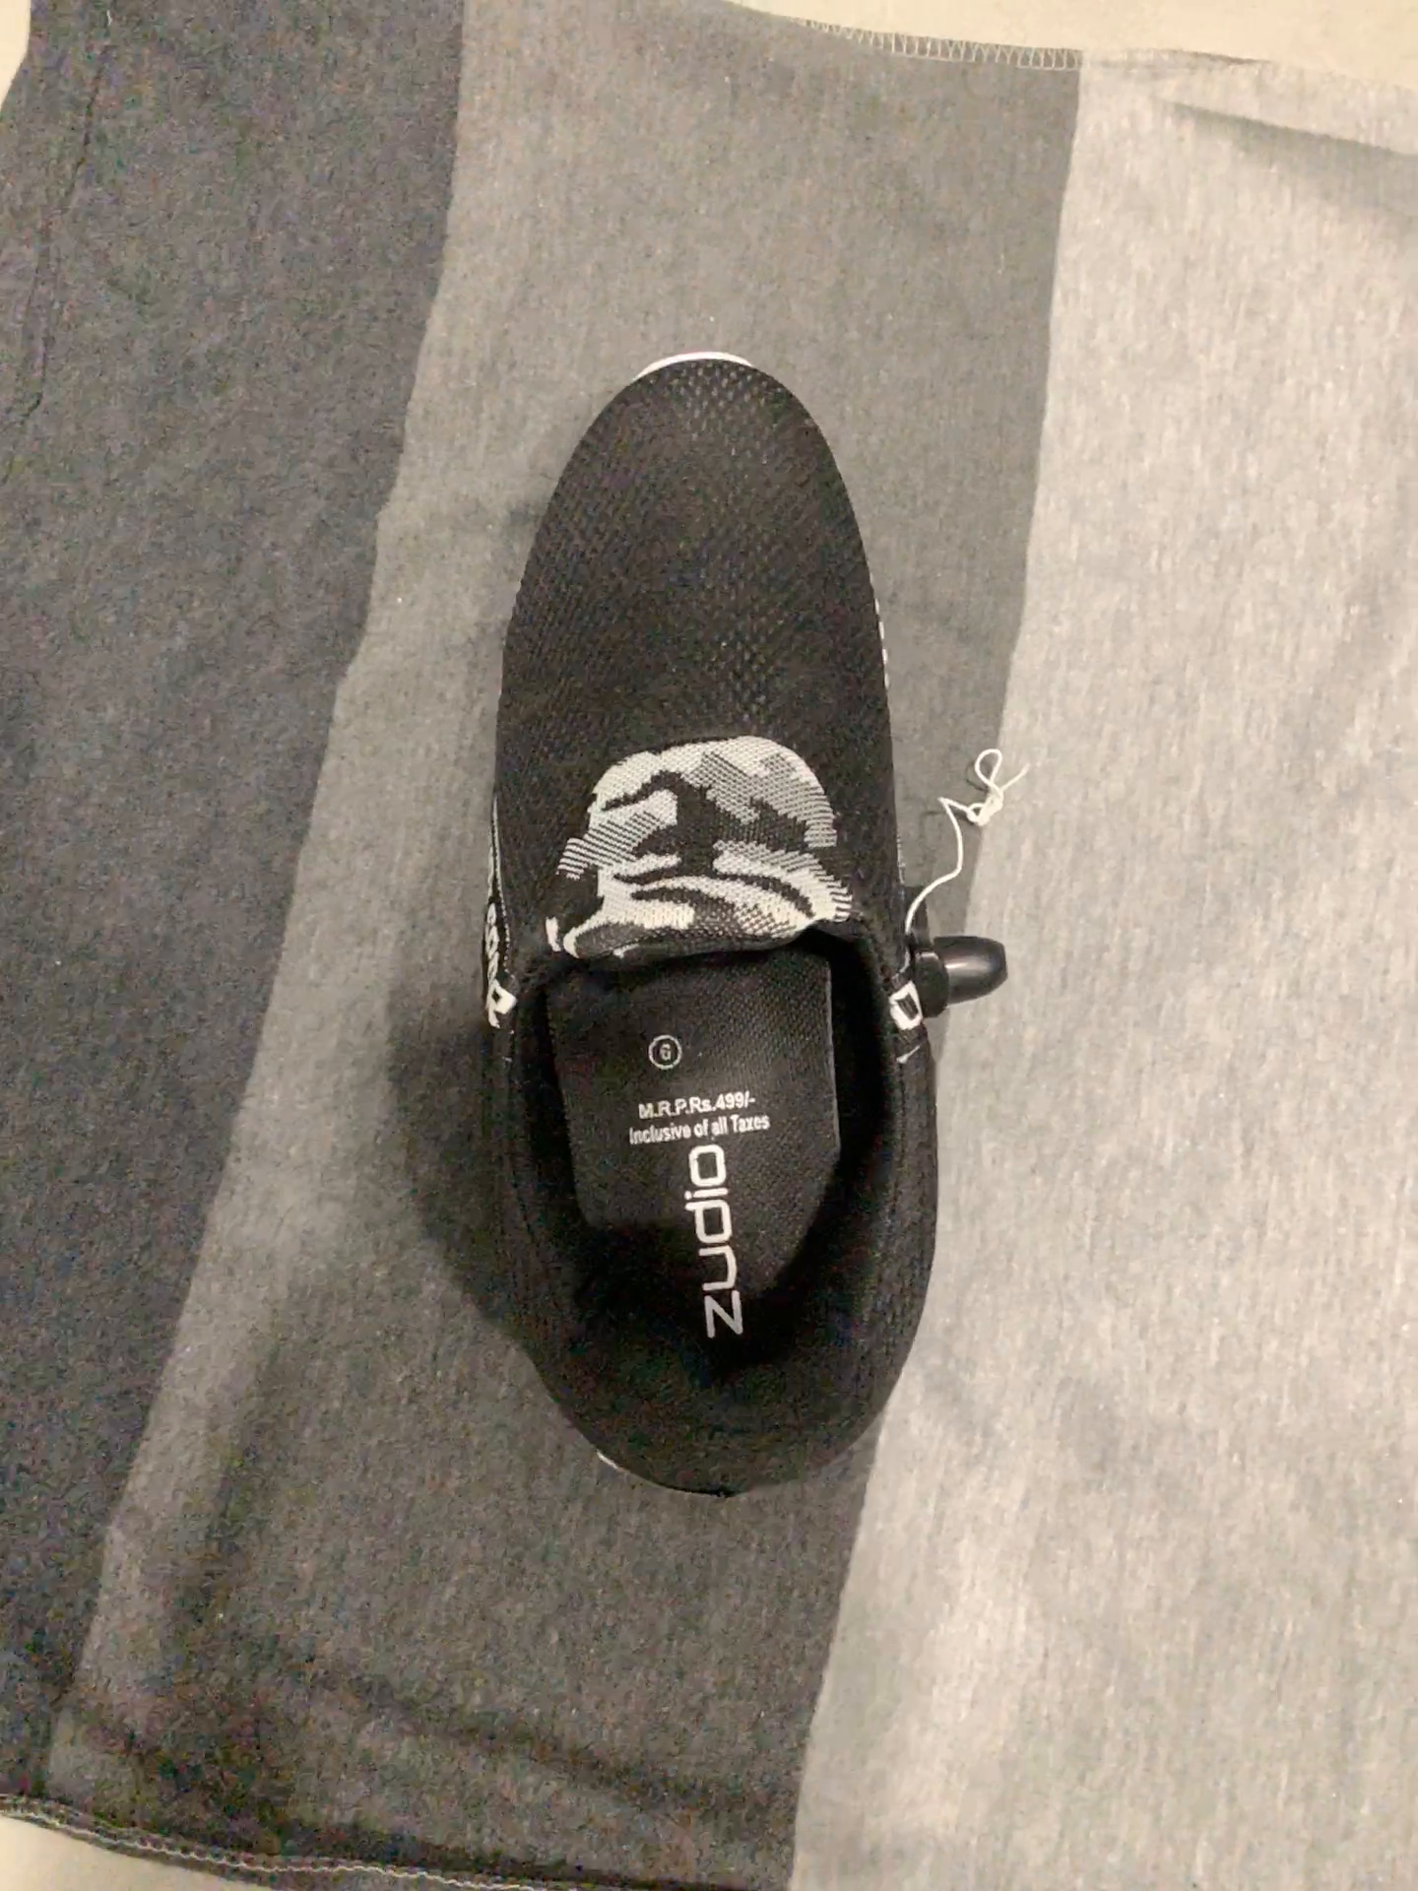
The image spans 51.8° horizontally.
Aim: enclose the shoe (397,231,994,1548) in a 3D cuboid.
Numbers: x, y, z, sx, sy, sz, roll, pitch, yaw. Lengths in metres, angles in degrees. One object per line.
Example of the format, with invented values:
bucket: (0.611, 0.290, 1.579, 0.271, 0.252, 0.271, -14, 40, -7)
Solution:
shoe: (-0.005, -0.010, 0.313, 0.100, 0.100, 0.240, -2, 80, 1)
